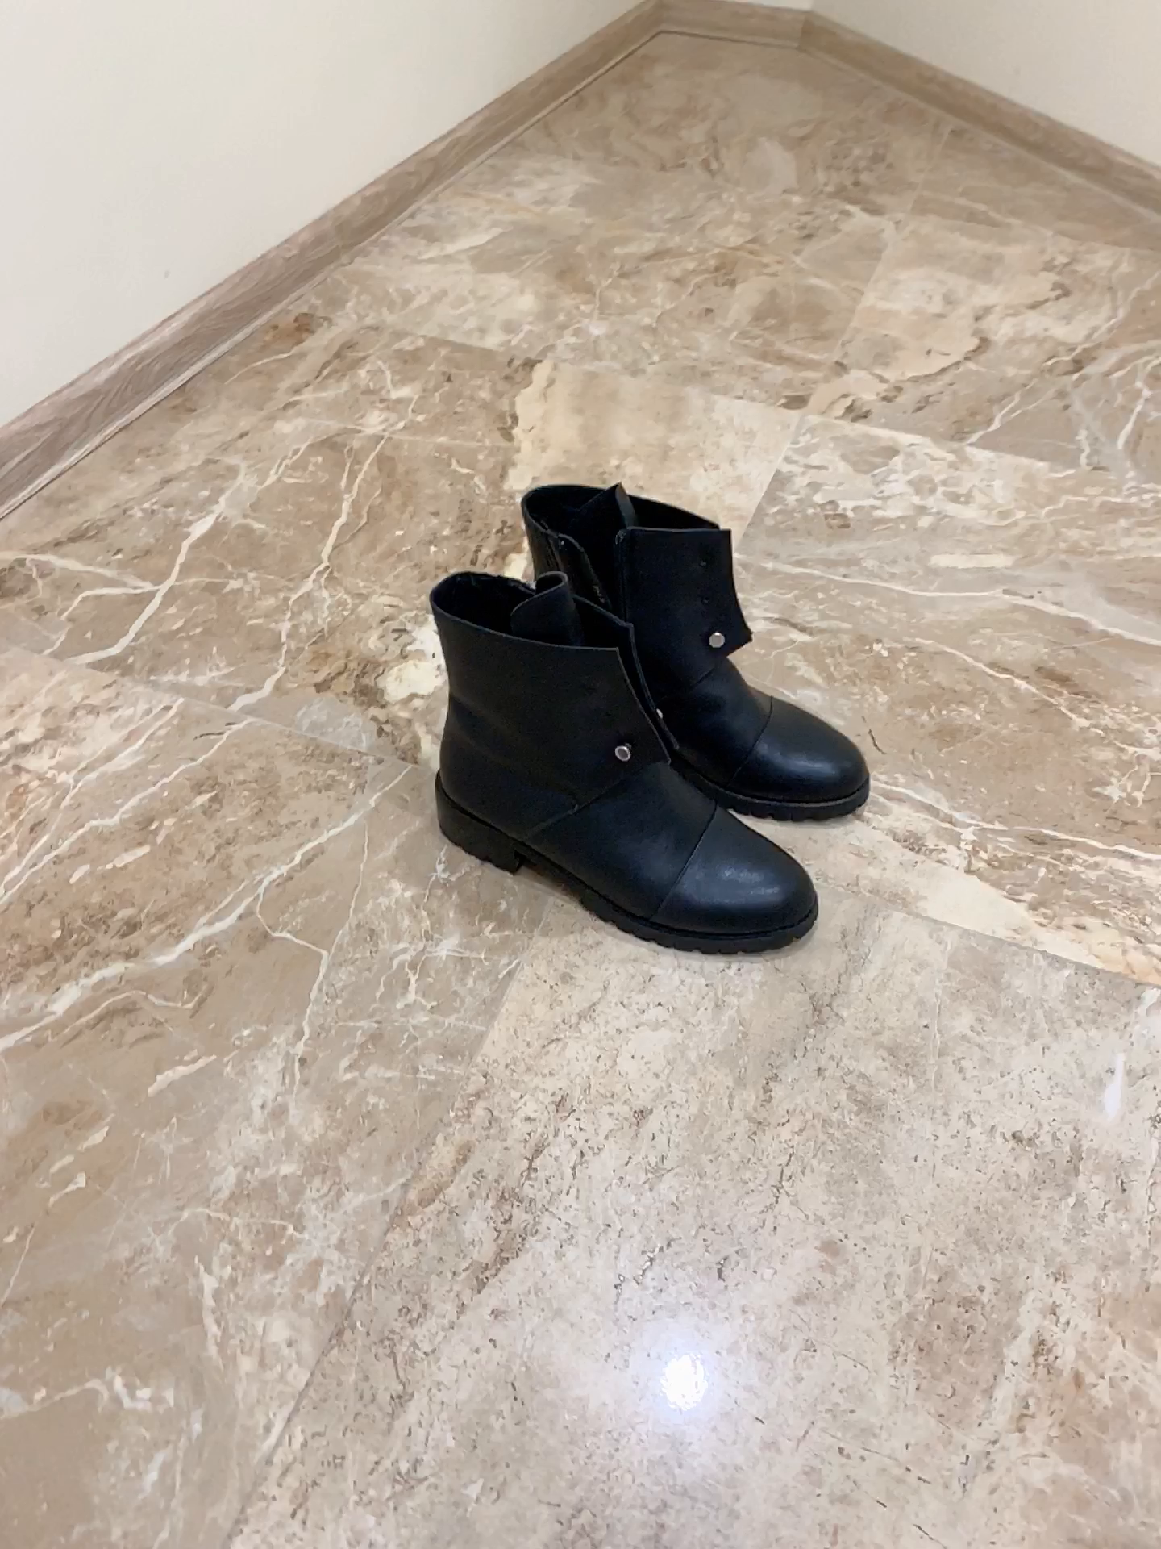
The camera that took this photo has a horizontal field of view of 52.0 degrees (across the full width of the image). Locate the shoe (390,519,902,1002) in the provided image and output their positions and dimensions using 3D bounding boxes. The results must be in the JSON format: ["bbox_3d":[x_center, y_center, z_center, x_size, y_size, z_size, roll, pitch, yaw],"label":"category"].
[{"bbox_3d":[0.027,-0.006,0.685,0.250,0.199,0.090,19,46,13],"label":"shoe"}]

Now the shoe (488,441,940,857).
[{"bbox_3d":[0.075,-0.079,0.766,0.250,0.199,0.090,15,45,12],"label":"shoe"}]
